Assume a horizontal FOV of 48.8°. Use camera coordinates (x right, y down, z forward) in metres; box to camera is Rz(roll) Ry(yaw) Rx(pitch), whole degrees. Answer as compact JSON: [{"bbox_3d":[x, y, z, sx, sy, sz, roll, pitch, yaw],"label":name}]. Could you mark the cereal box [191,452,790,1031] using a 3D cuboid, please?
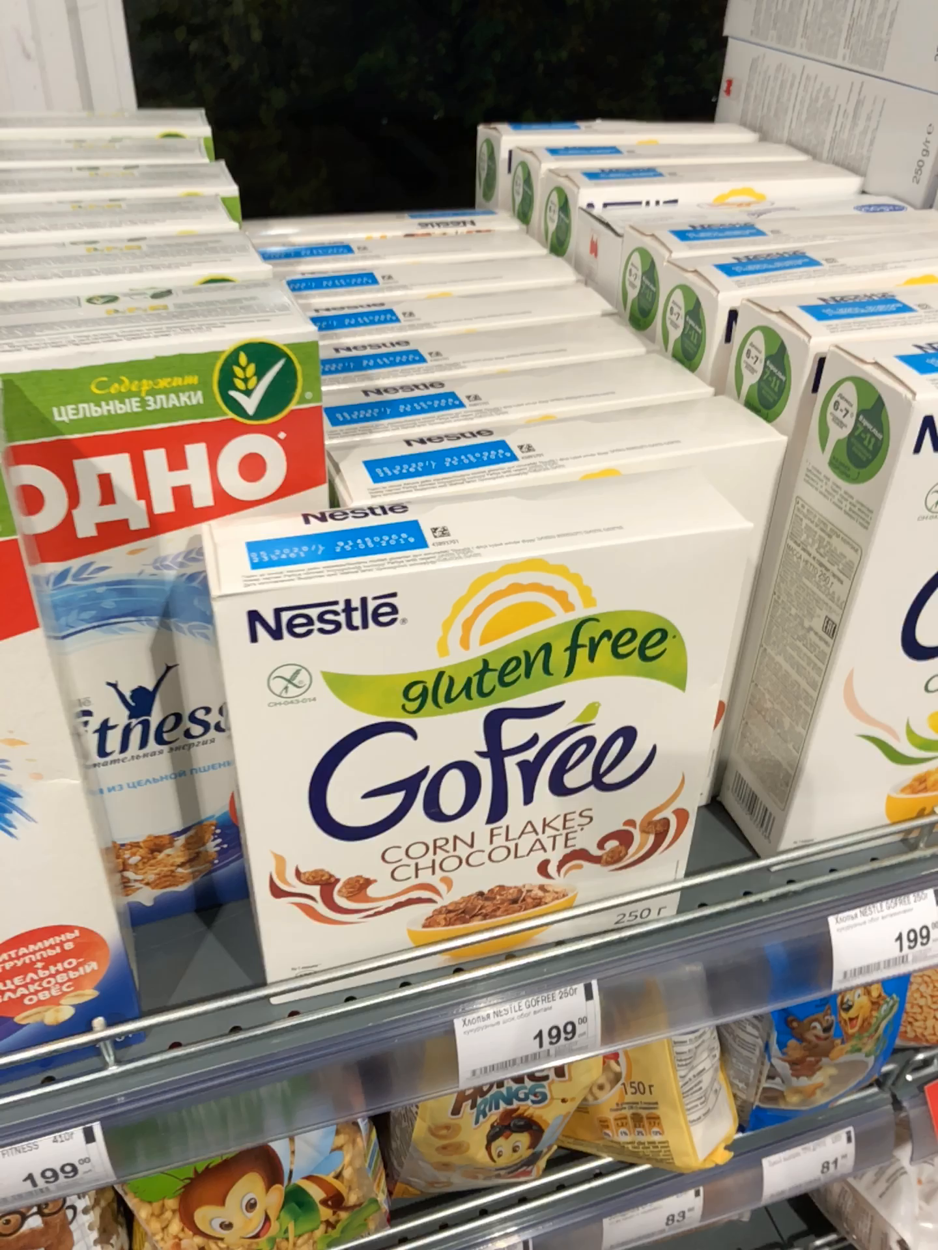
[{"bbox_3d":[0.005,0.052,0.422,0.200,0.219,0.060,-8,36,-14],"label":"cereal box"}]
